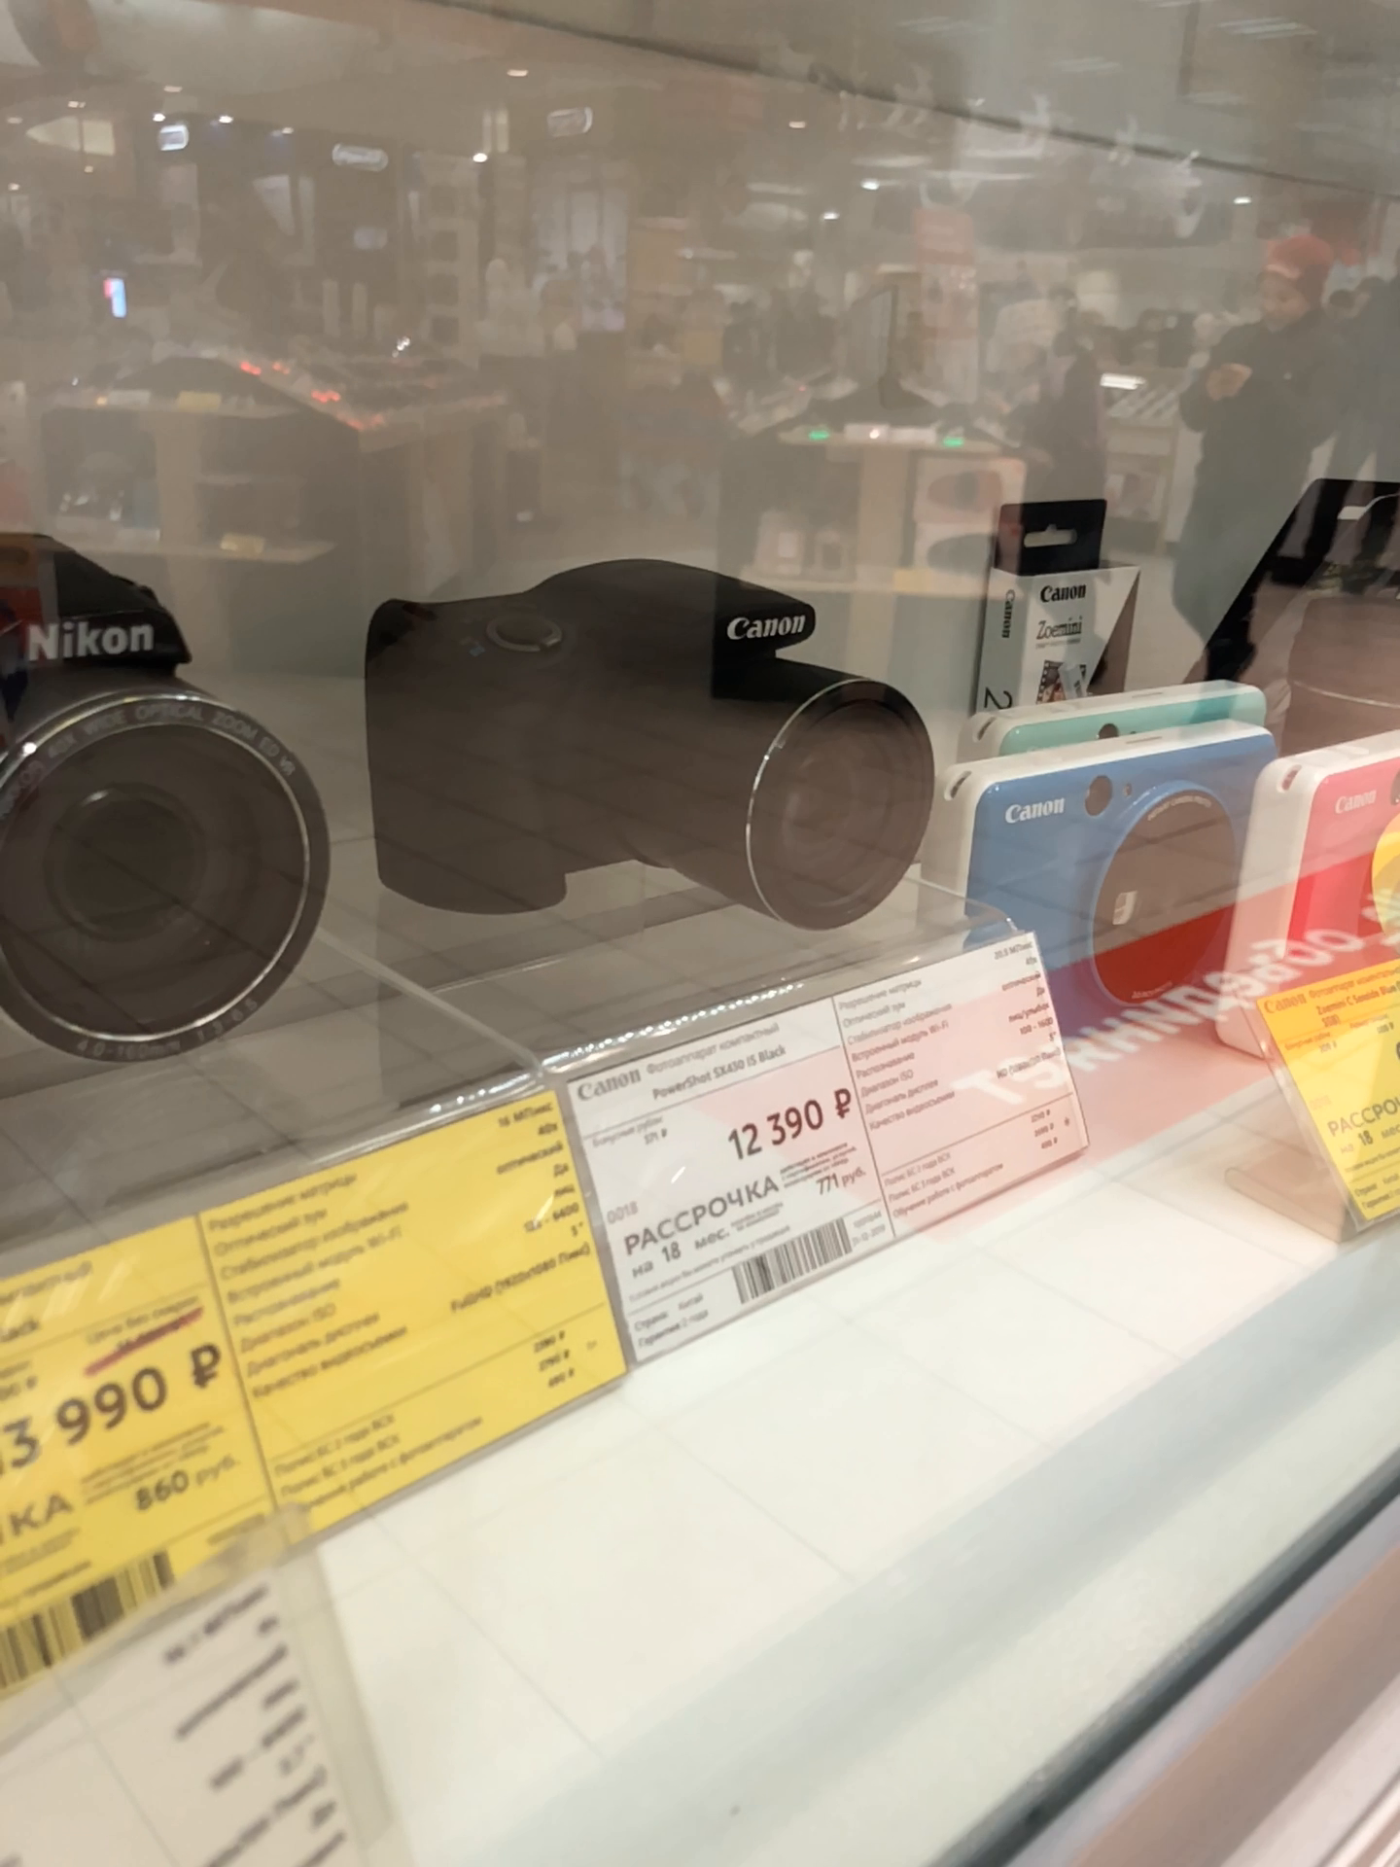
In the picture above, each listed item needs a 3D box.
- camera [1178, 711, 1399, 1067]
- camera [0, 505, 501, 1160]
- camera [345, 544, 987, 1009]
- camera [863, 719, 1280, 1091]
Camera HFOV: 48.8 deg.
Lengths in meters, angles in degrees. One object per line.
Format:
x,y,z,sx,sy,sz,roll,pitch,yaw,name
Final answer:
0.183,-0.016,0.418,0.118,0.073,0.028,-13,25,-36,camera
-0.101,-0.028,0.257,0.100,0.073,0.093,-14,26,-38,camera
-0.009,-0.042,0.338,0.100,0.070,0.093,-14,26,-38,camera
0.099,-0.011,0.404,0.118,0.073,0.028,-13,25,-36,camera
